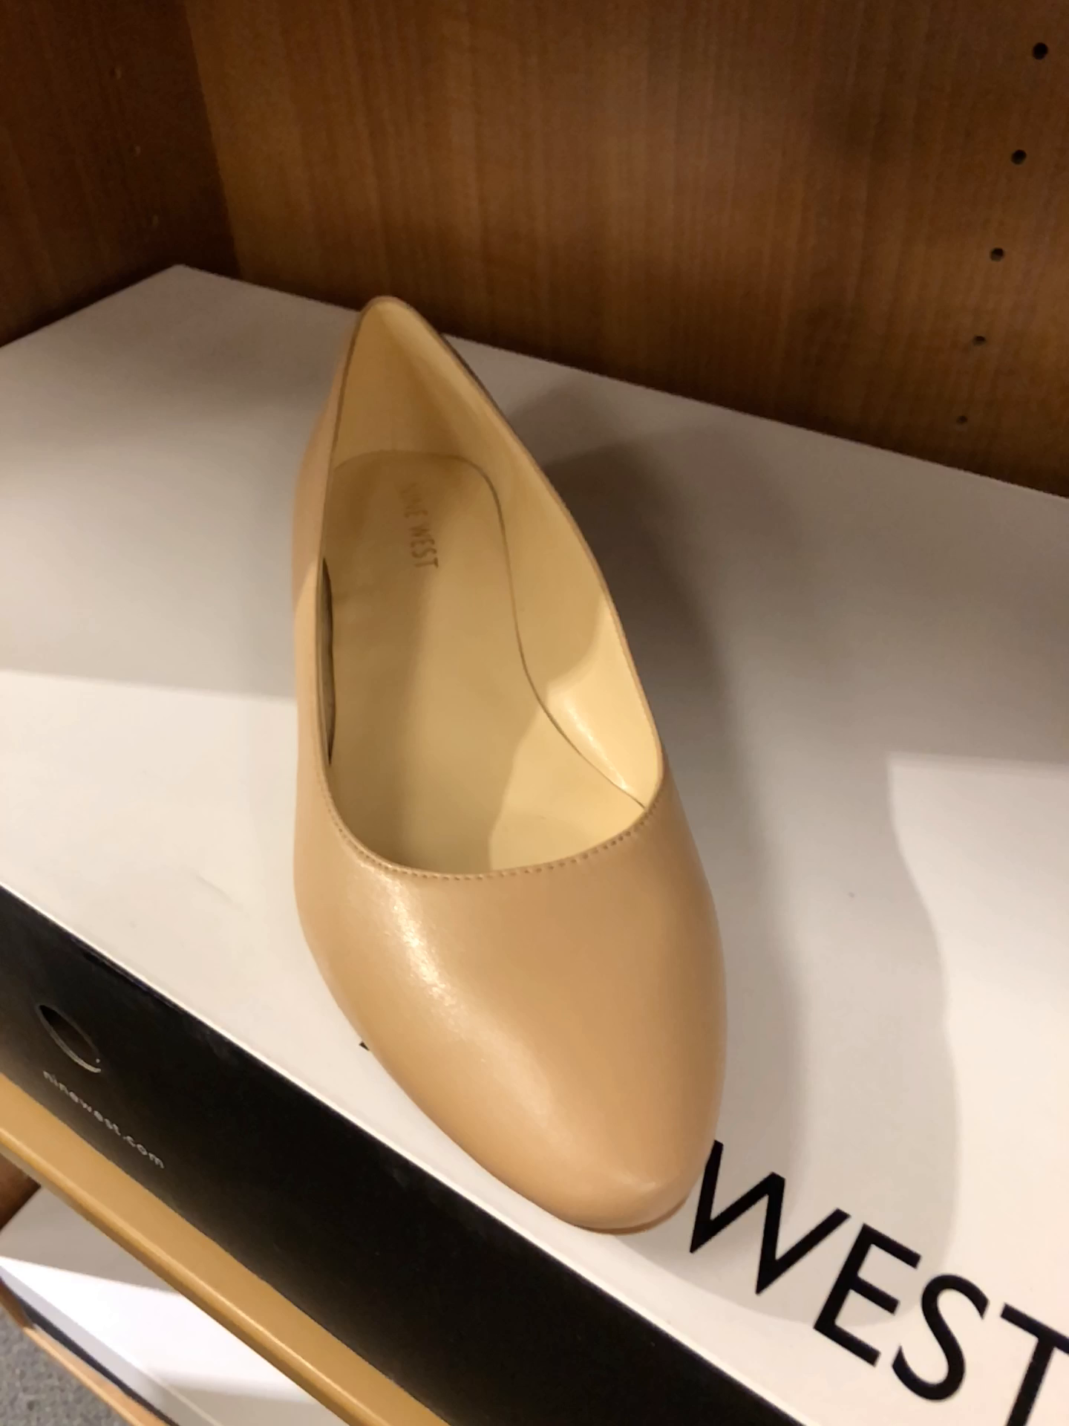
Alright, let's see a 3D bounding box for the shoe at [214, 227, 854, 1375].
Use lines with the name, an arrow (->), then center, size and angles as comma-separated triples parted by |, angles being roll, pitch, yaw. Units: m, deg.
shoe -> -0.023, -0.014, 0.274 | 0.081, 0.070, 0.271 | -9, 47, -7
